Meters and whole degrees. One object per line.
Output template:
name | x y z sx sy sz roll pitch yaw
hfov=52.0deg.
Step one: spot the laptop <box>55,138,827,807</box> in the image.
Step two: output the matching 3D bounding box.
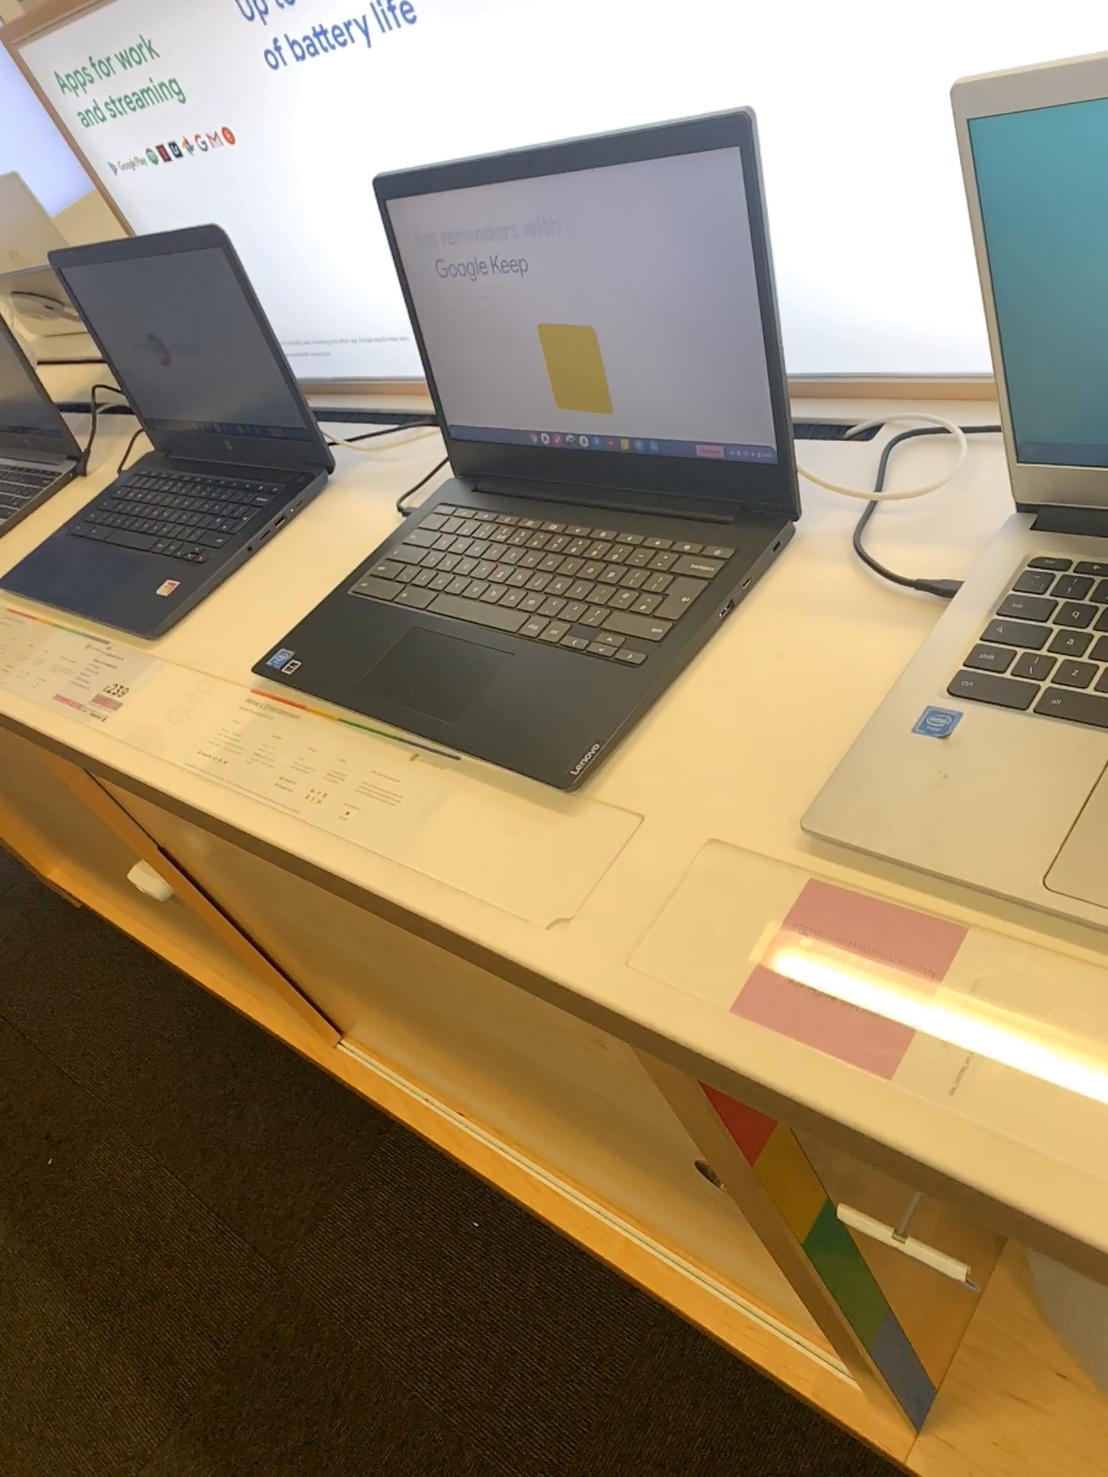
laptop | -0.066 -0.170 0.687 0.317 0.201 0.281 18 59 43
